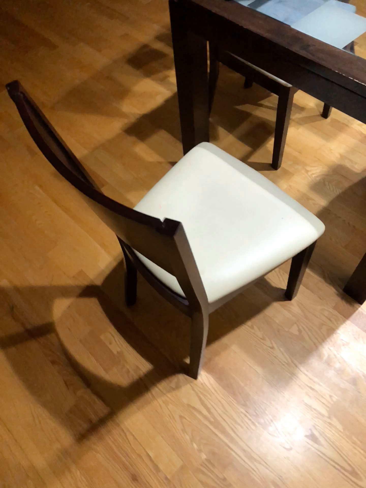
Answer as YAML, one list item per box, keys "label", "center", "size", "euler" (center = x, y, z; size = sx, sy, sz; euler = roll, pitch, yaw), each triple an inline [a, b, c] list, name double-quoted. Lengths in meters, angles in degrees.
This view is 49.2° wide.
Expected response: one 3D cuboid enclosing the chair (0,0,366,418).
- label: "chair"
  center: [0.056, -0.042, 1.126]
  size: [0.501, 1.006, 0.641]
  euler: [37, 66, 25]
